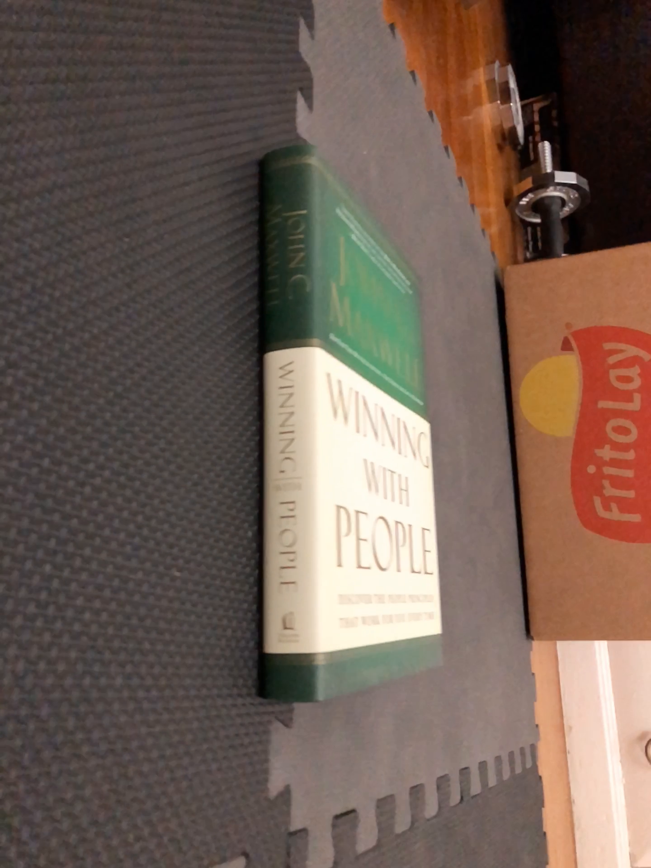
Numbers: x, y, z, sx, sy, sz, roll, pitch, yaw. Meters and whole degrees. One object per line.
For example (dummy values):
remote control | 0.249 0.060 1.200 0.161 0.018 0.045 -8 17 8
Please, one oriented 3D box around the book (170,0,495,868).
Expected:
book | 0.018 -0.015 0.286 0.201 0.030 0.290 30 56 -61
